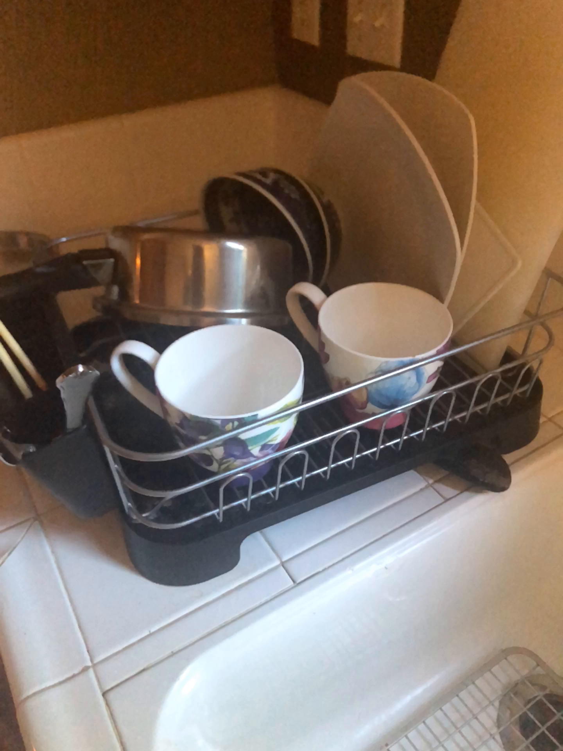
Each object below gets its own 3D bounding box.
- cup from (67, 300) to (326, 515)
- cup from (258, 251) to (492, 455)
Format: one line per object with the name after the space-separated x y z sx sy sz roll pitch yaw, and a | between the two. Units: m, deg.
-0.058 0.019 0.495 0.160 0.089 0.111 11 40 17 | cup
0.079 -0.027 0.551 0.160 0.089 0.111 23 45 29 | cup
